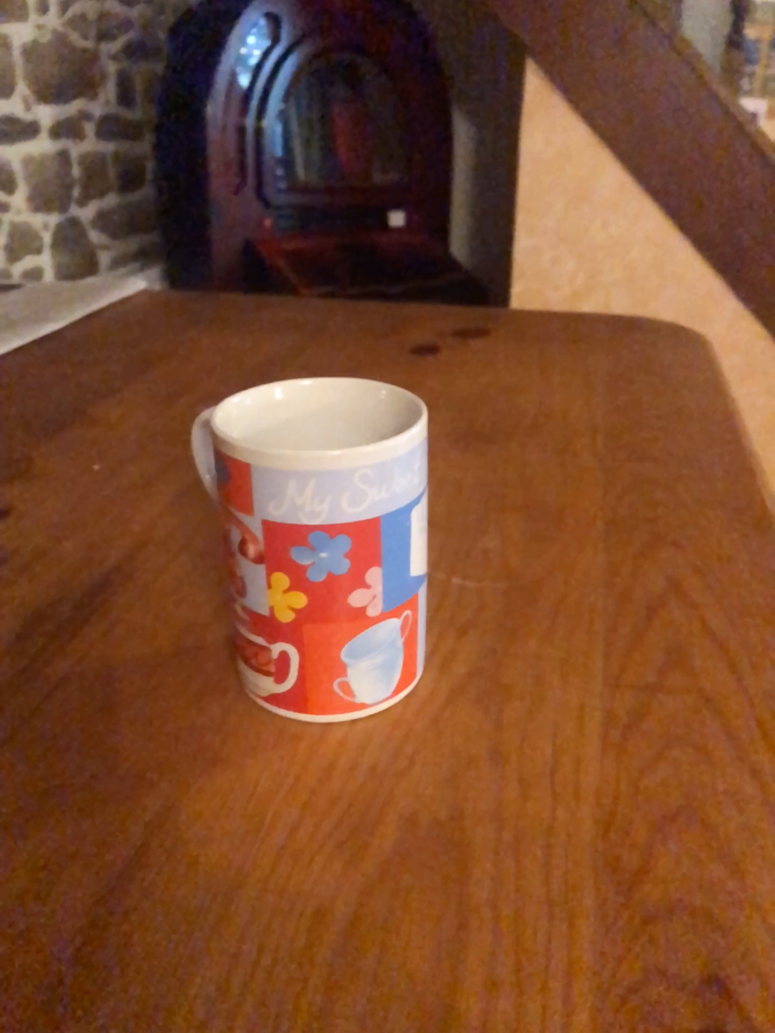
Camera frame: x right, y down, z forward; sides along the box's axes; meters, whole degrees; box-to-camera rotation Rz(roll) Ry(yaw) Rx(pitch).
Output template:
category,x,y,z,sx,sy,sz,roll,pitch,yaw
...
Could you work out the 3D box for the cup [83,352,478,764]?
category,x,y,z,sx,sy,sz,roll,pitch,yaw
cup,-0.038,0.005,0.314,0.112,0.099,0.080,21,32,37
